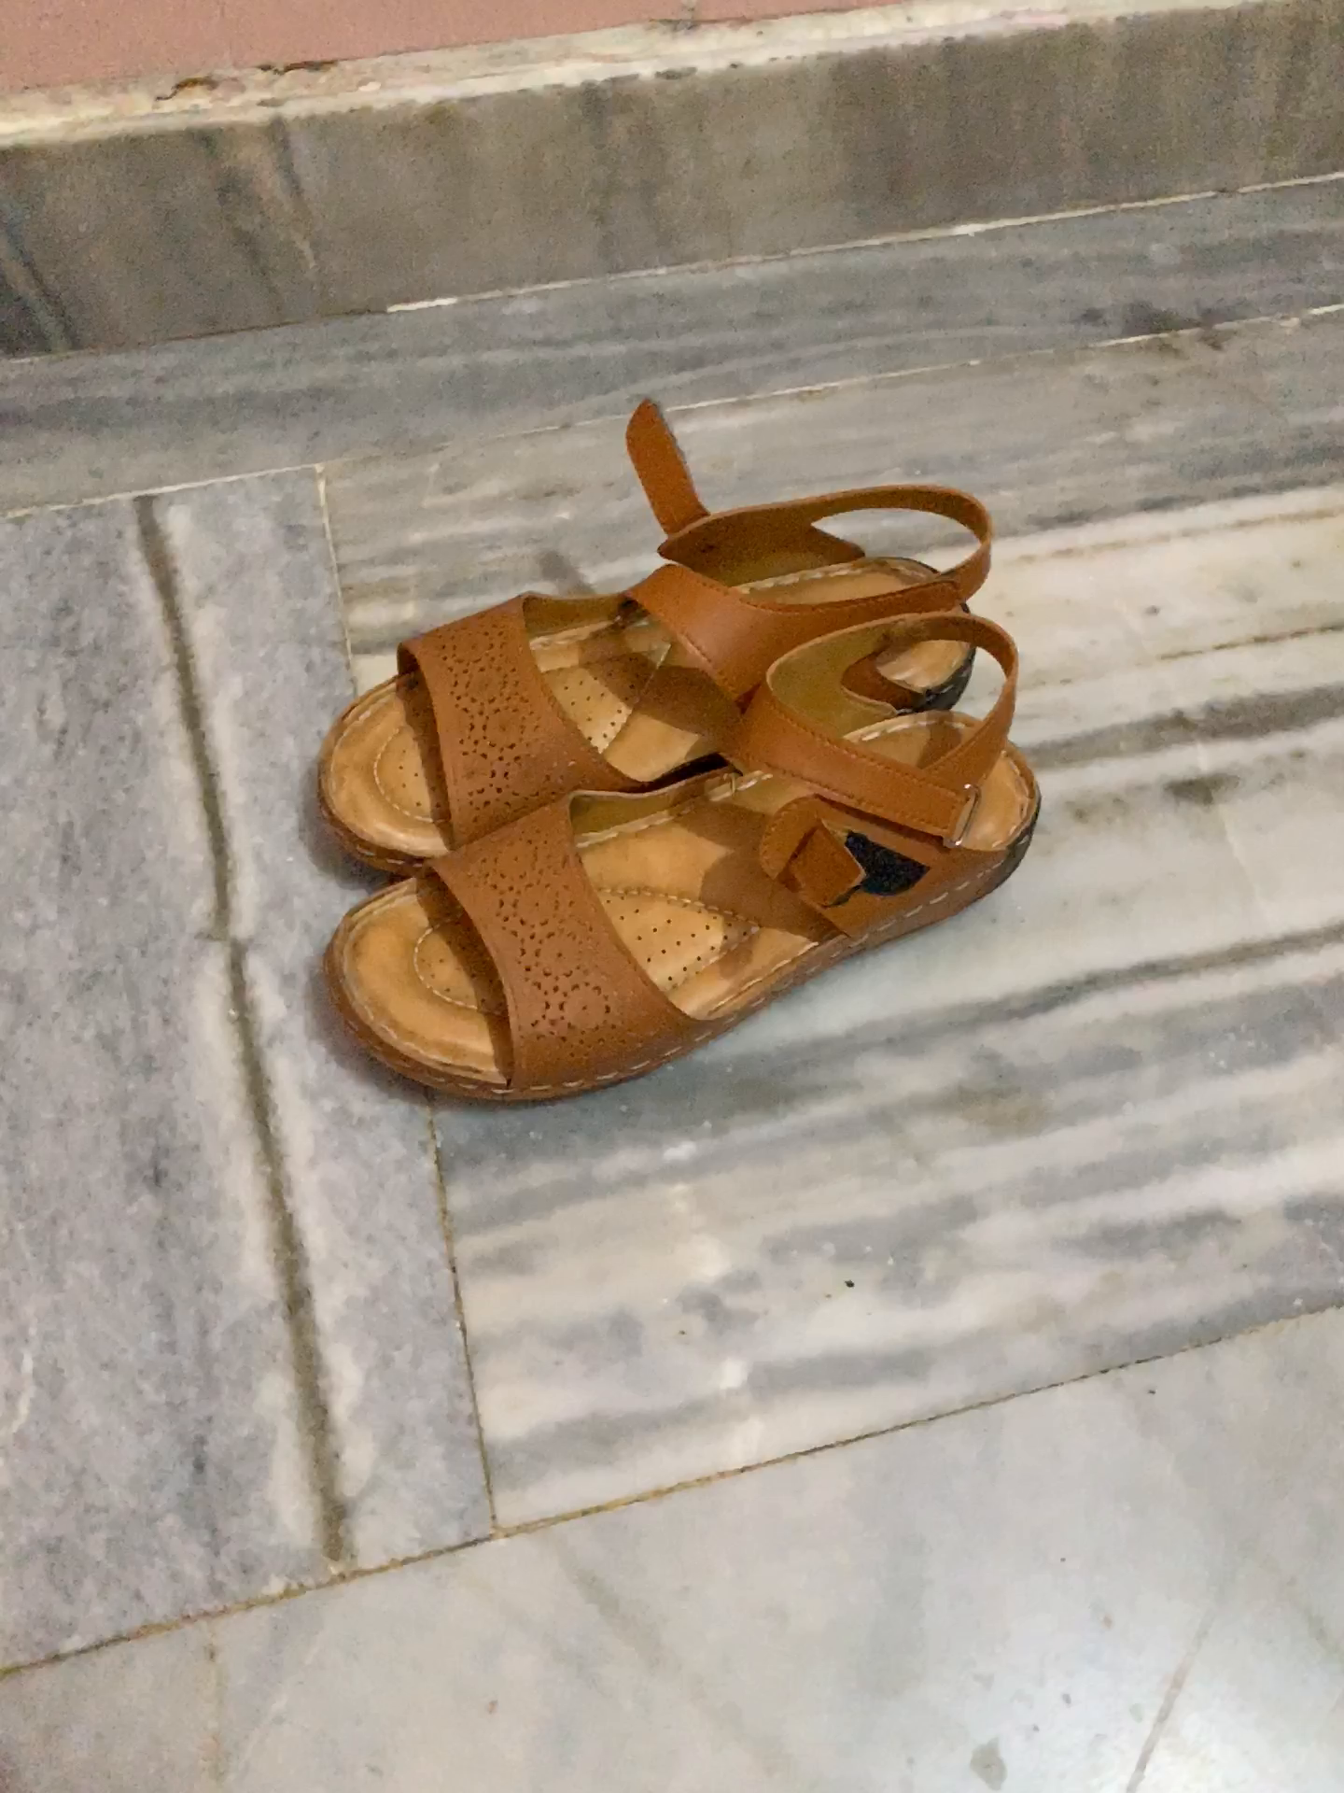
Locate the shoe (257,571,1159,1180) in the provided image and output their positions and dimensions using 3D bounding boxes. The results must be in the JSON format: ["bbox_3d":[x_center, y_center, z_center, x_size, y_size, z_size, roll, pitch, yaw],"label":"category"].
[{"bbox_3d":[0.011,-0.008,0.457,0.256,0.100,0.090,-18,61,-12],"label":"shoe"}]

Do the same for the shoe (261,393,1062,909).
[{"bbox_3d":[-0.005,-0.089,0.500,0.250,0.100,0.090,-15,61,-10],"label":"shoe"}]
